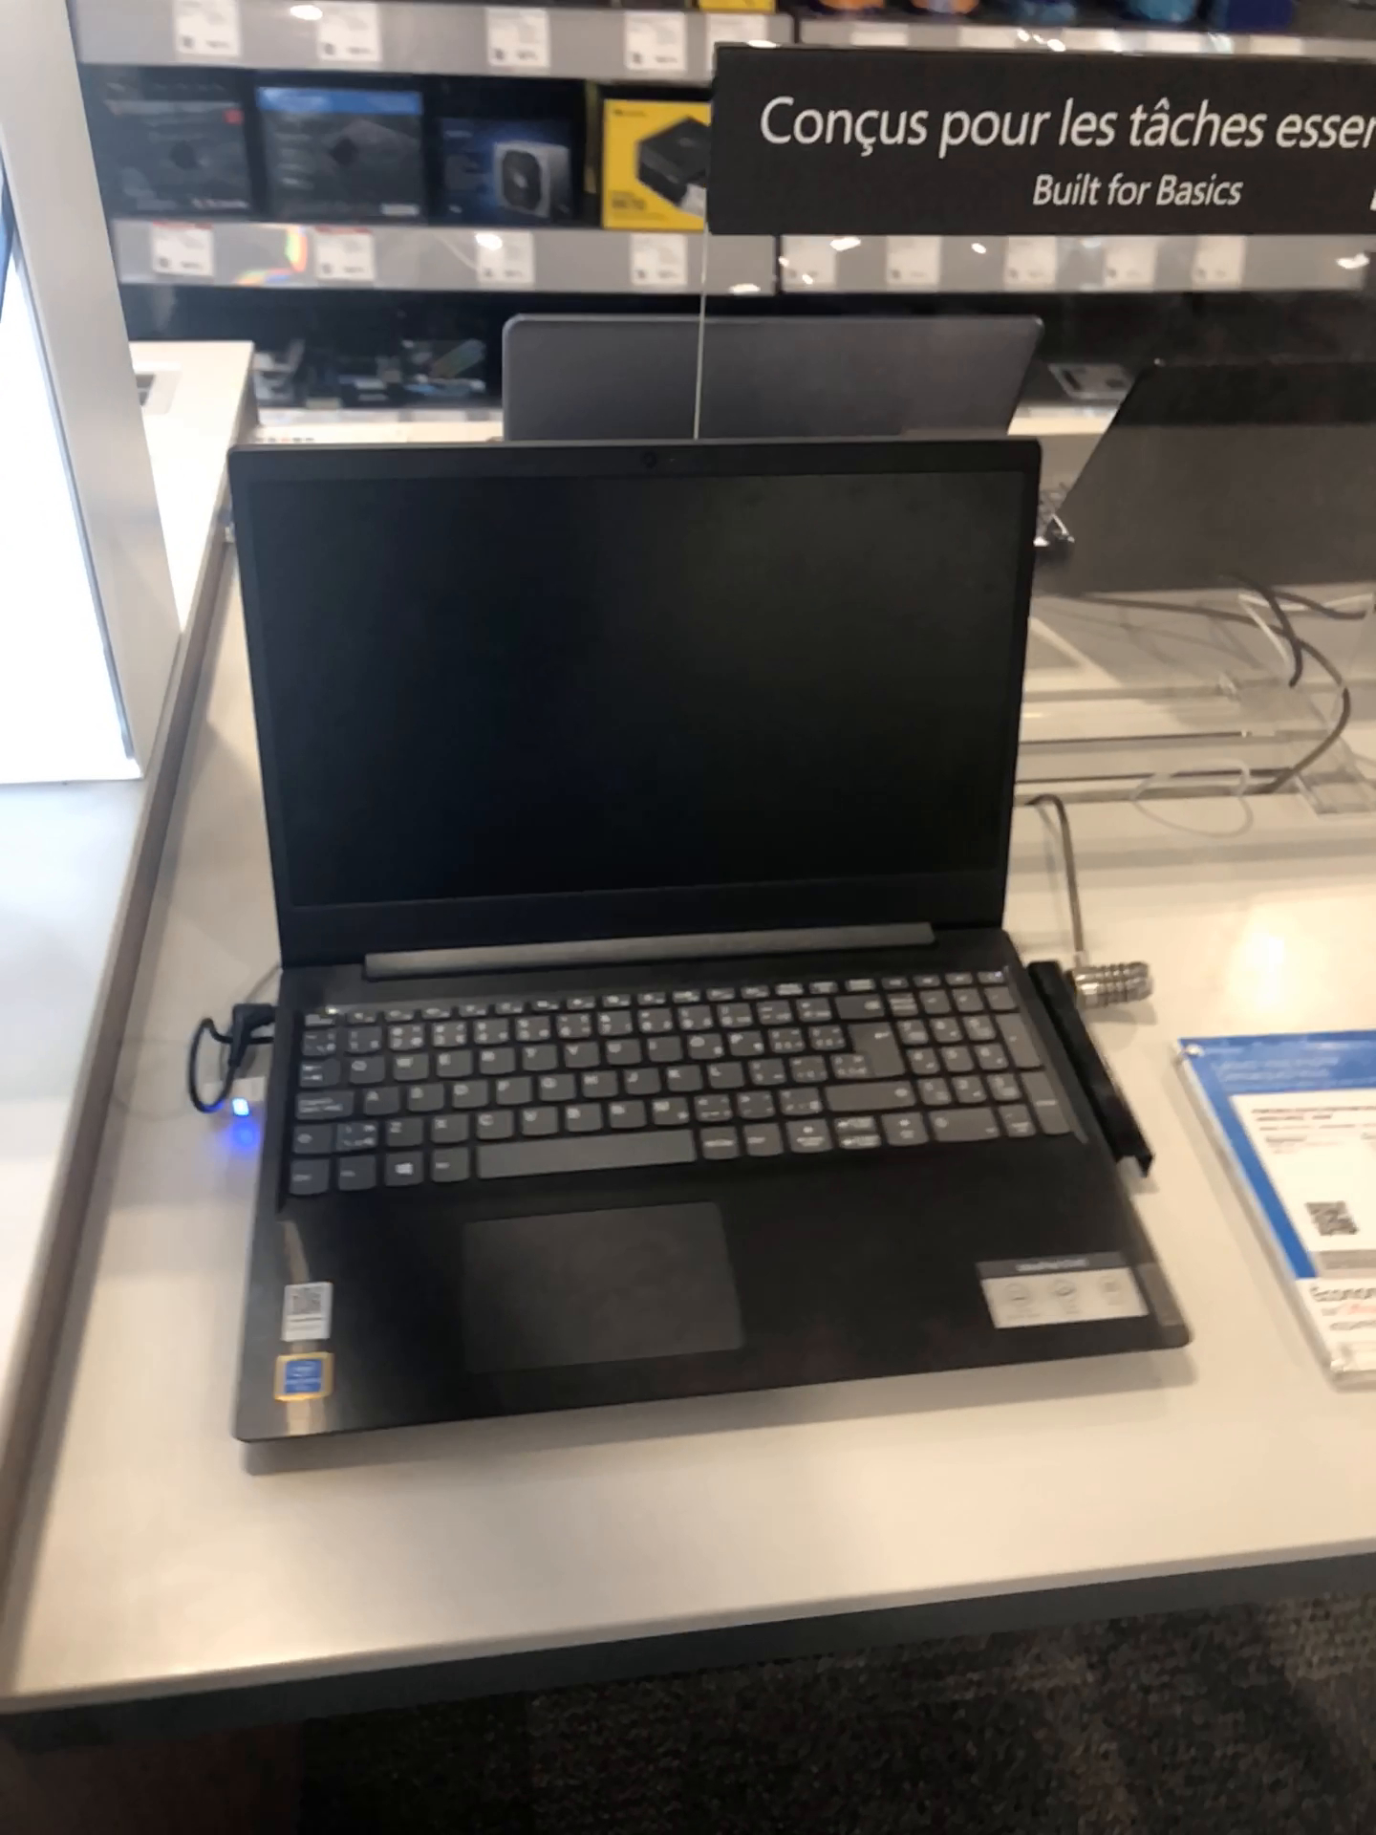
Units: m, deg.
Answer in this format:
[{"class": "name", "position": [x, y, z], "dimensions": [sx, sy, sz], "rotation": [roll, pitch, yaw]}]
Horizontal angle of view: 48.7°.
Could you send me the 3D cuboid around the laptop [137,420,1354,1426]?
[{"class": "laptop", "position": [-0.002, -0.022, 0.609], "dimensions": [0.345, 0.213, 0.324], "rotation": [-3, 42, -8]}]
